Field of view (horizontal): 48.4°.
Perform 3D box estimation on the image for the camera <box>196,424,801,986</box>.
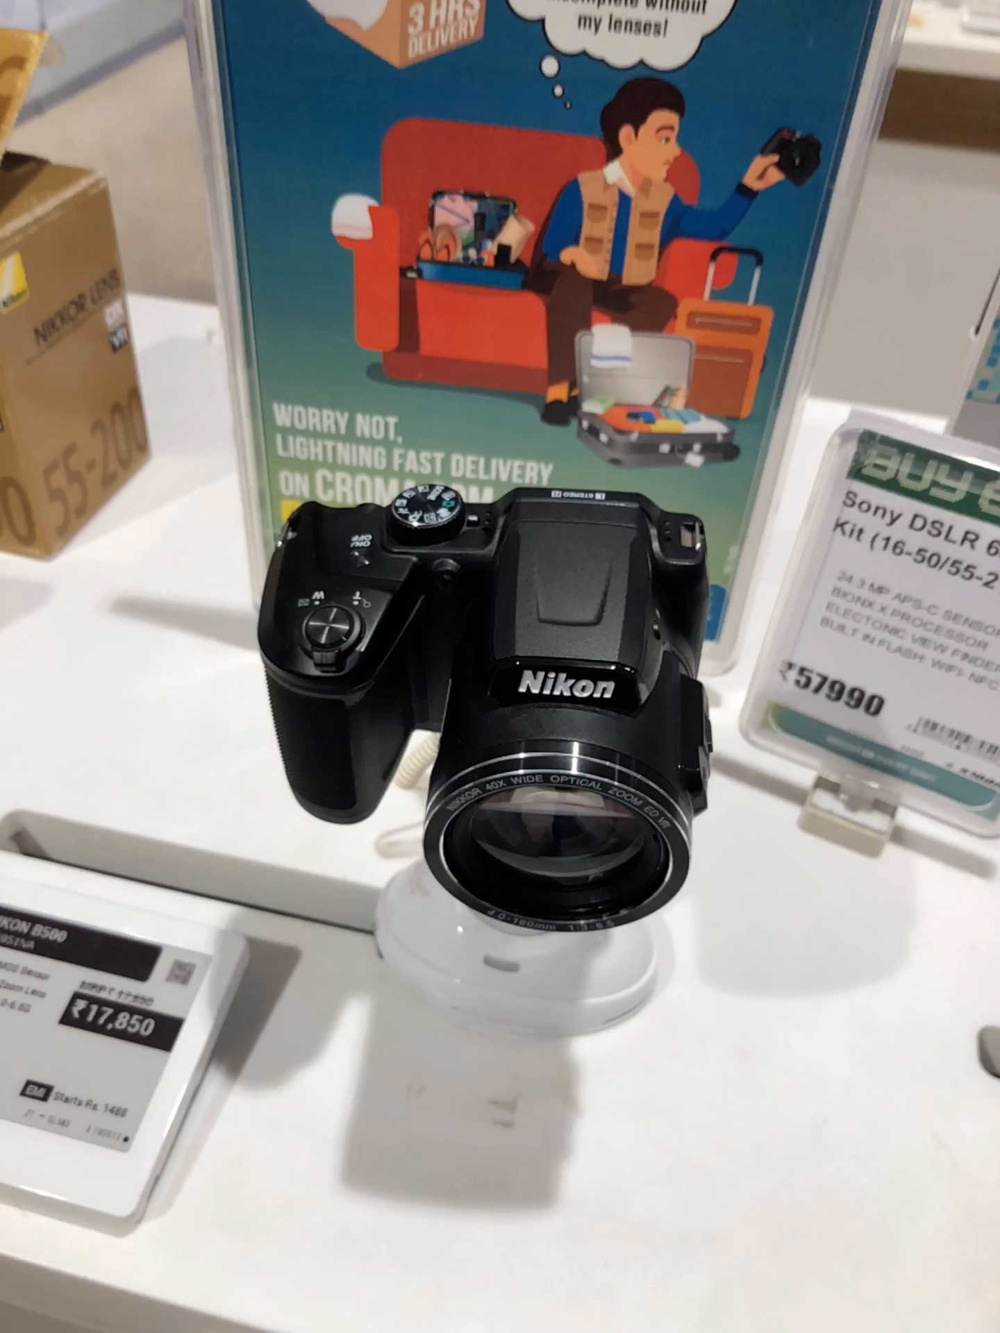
[{"bbox_3d":[0.001,0.004,0.266,0.110,0.070,0.111,4,41,1],"label":"camera"}]
